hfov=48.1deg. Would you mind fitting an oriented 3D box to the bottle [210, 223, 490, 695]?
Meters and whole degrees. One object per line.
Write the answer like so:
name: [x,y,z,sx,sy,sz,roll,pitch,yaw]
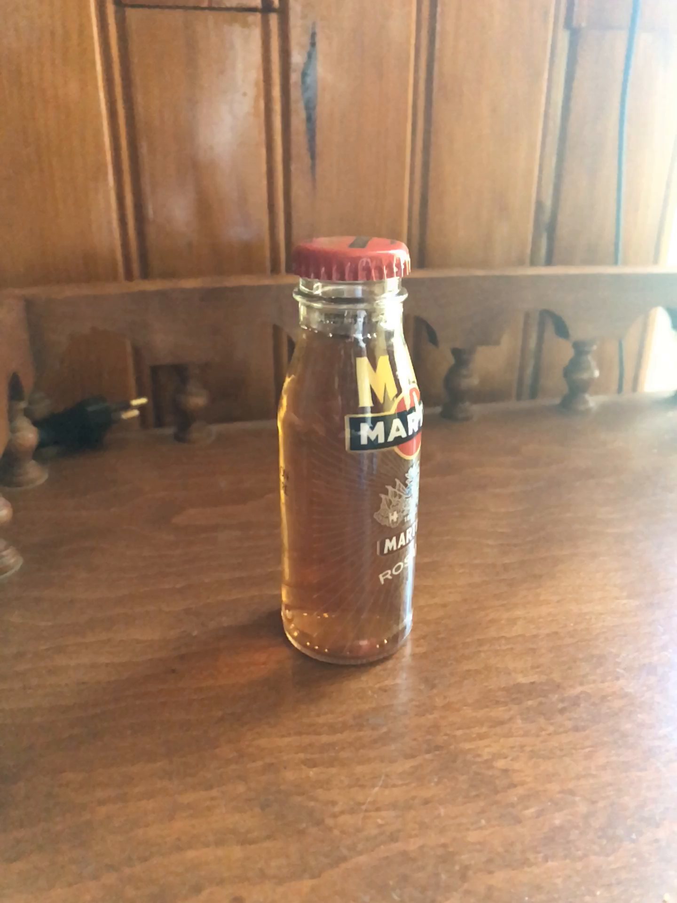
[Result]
bottle: [0.004,-0.001,0.207,0.050,0.109,0.050,1,23,0]
